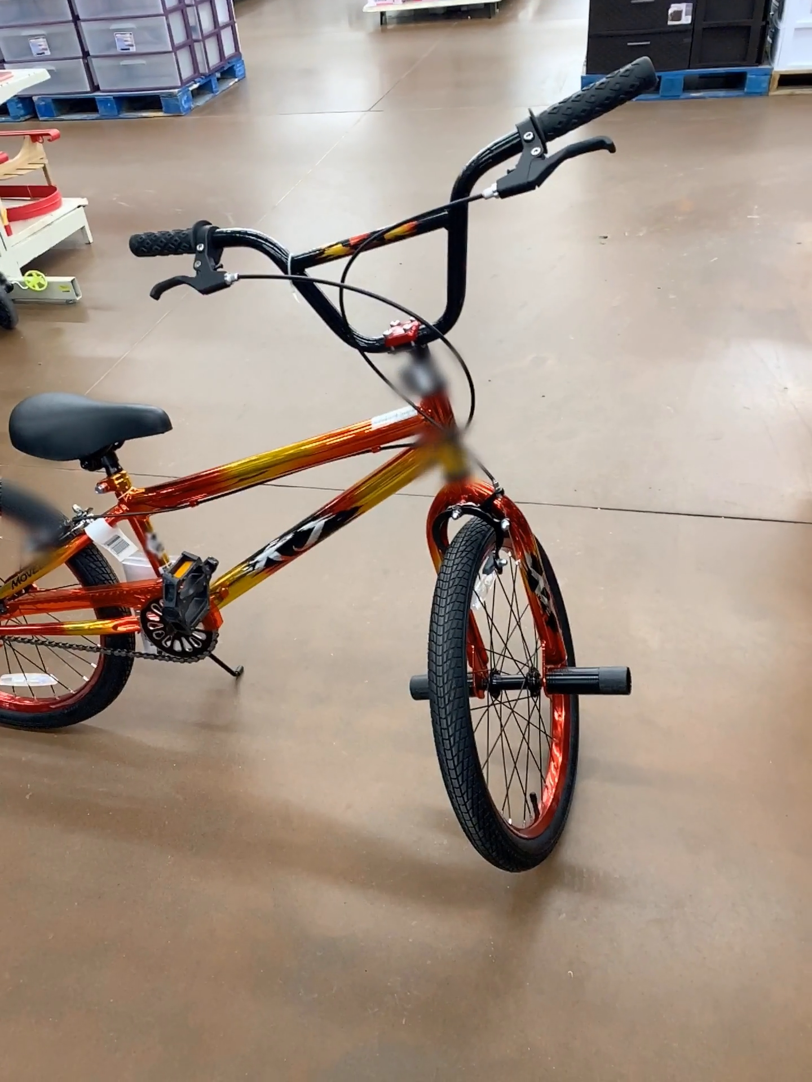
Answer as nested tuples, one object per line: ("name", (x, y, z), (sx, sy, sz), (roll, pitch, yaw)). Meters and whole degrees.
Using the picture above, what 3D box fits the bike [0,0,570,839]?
("bike", (-0.349, -0.173, 1.234), (1.122, 0.925, 0.707), (-3, 39, 5))
